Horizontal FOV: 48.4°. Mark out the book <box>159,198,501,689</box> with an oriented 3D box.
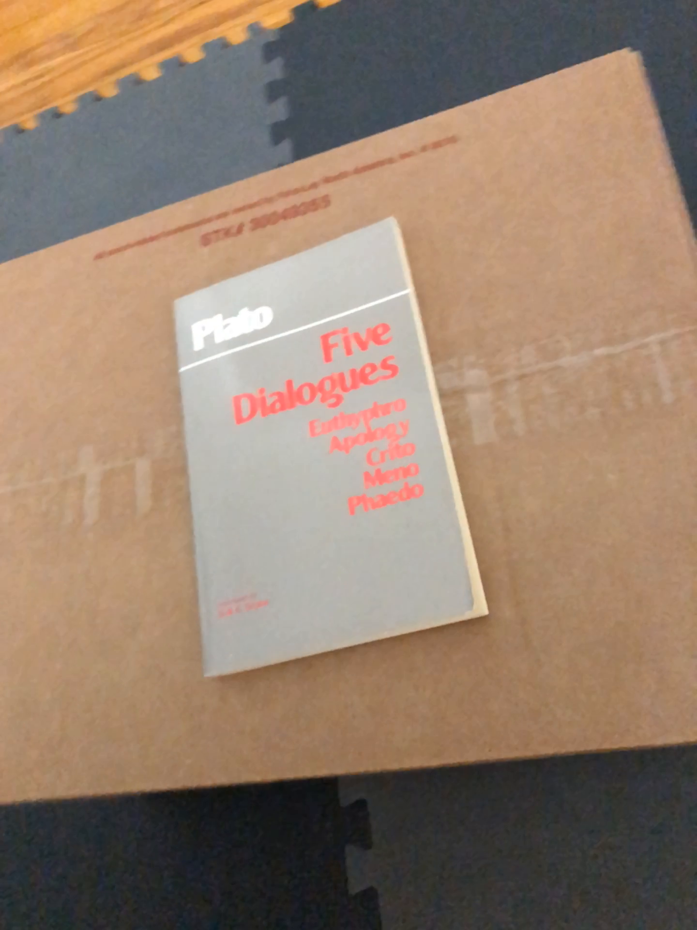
[{"bbox_3d":[-0.021,-0.016,0.386,0.140,0.020,0.220,-17,66,16],"label":"book"}]
